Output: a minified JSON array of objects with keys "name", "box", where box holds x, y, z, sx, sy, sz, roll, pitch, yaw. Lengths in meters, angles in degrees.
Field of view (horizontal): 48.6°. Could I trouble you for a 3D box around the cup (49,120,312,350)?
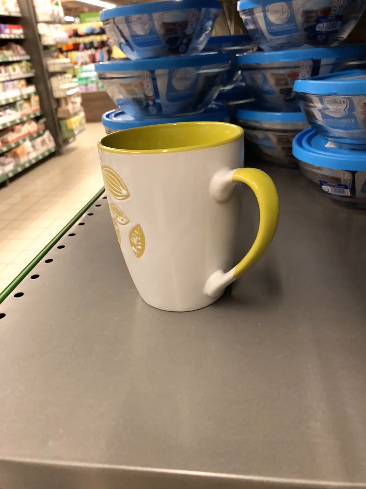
[{"name":"cup","box":[0.000,-0.020,0.260,0.126,0.095,0.094,17,33,39]}]
